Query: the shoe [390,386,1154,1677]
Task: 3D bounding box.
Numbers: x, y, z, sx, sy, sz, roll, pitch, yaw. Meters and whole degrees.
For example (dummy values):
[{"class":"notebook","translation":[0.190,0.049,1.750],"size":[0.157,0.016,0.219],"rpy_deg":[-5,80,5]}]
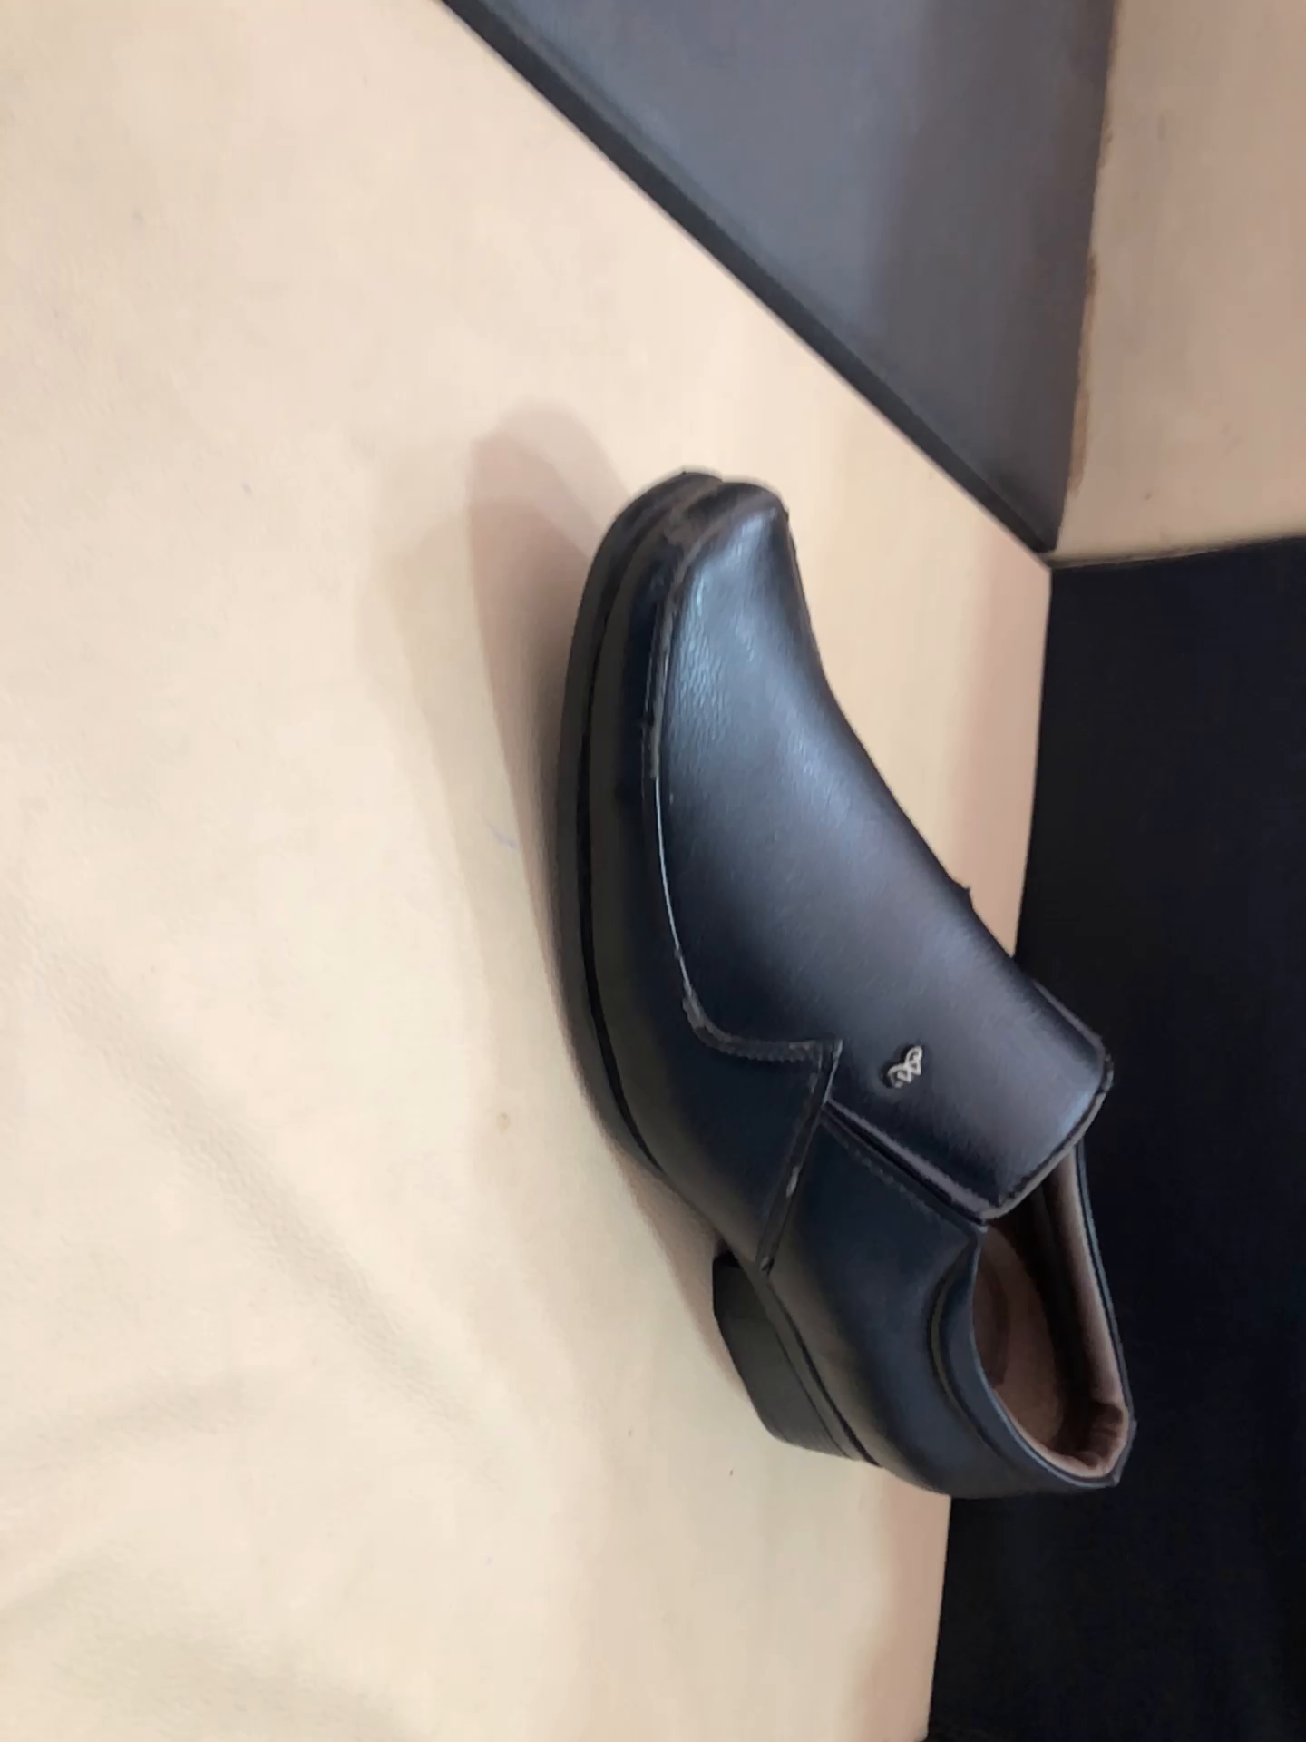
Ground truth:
[{"class":"shoe","translation":[0.048,0.048,0.371],"size":[0.101,0.089,0.301],"rpy_deg":[-41,123,-44]}]
